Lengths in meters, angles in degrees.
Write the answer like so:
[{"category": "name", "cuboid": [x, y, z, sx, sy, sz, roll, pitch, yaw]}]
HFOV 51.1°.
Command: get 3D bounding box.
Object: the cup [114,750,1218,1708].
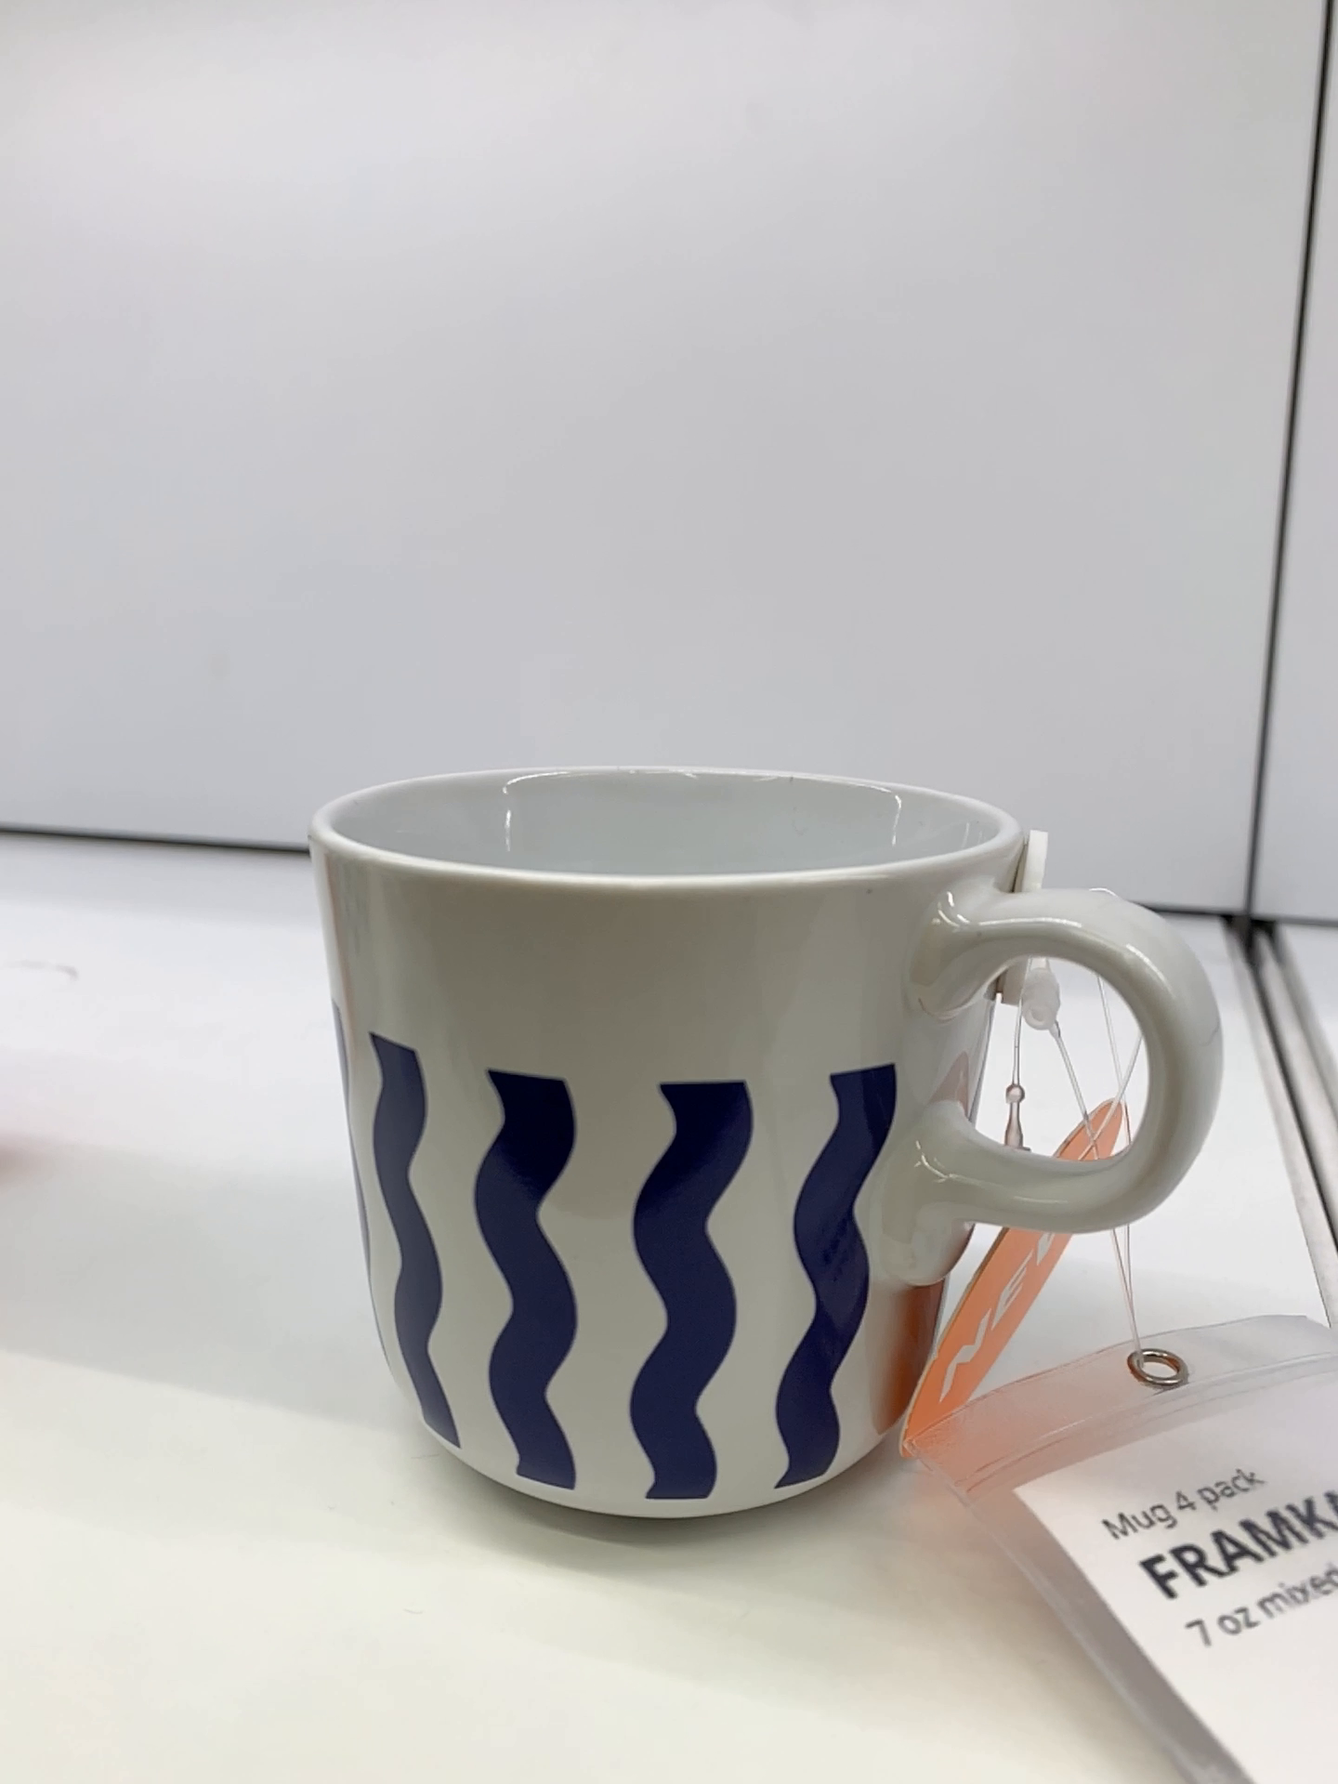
[{"category": "cup", "cuboid": [0.005, 0.024, 0.164, 0.101, 0.071, 0.076, 4, 12, 18]}]
